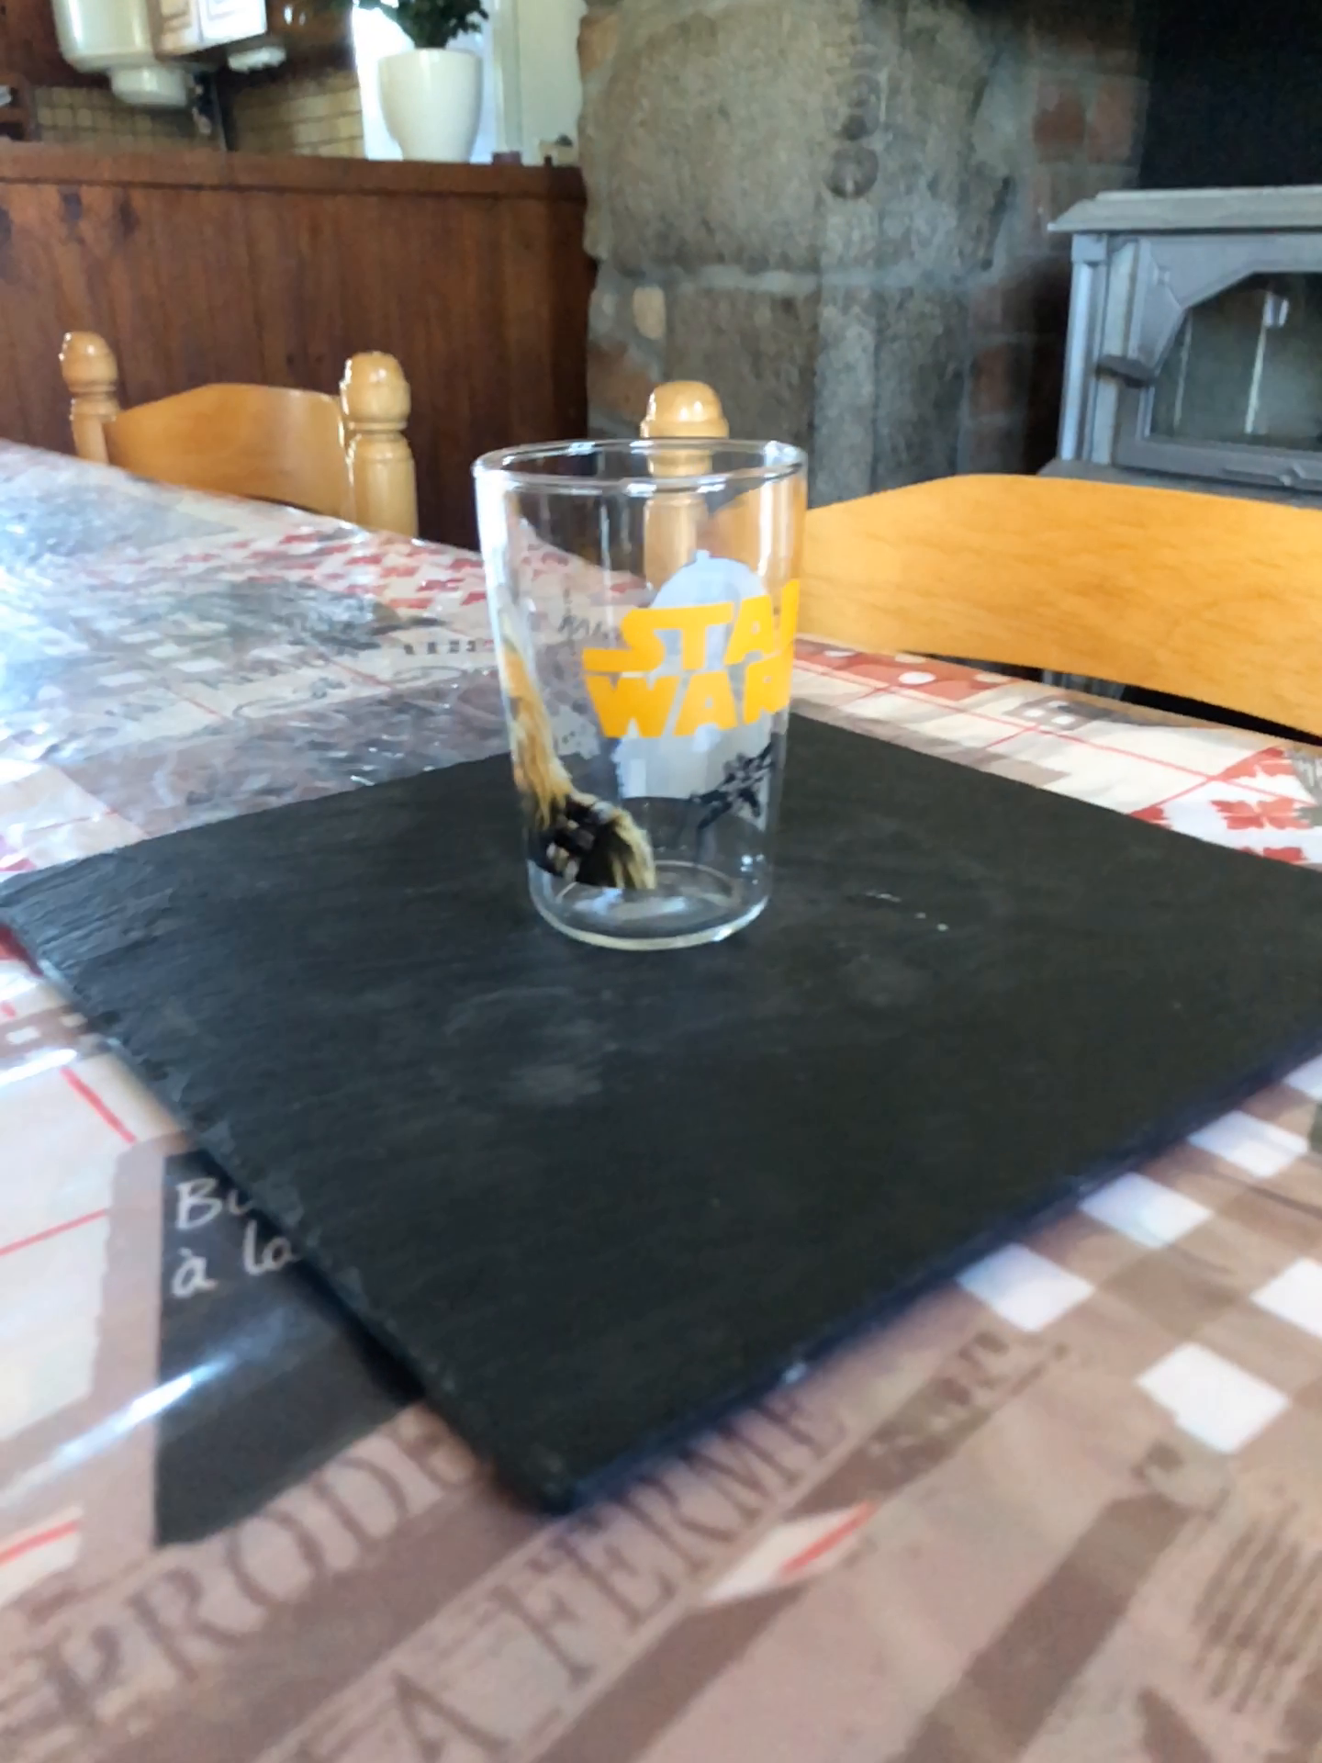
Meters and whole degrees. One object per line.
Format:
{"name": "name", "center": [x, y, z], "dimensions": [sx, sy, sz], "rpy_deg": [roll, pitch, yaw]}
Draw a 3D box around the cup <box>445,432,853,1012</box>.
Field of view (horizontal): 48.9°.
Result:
{"name": "cup", "center": [-0.006, -0.036, 0.299], "dimensions": [0.070, 0.099, 0.070], "rpy_deg": [0, 22, 0]}
